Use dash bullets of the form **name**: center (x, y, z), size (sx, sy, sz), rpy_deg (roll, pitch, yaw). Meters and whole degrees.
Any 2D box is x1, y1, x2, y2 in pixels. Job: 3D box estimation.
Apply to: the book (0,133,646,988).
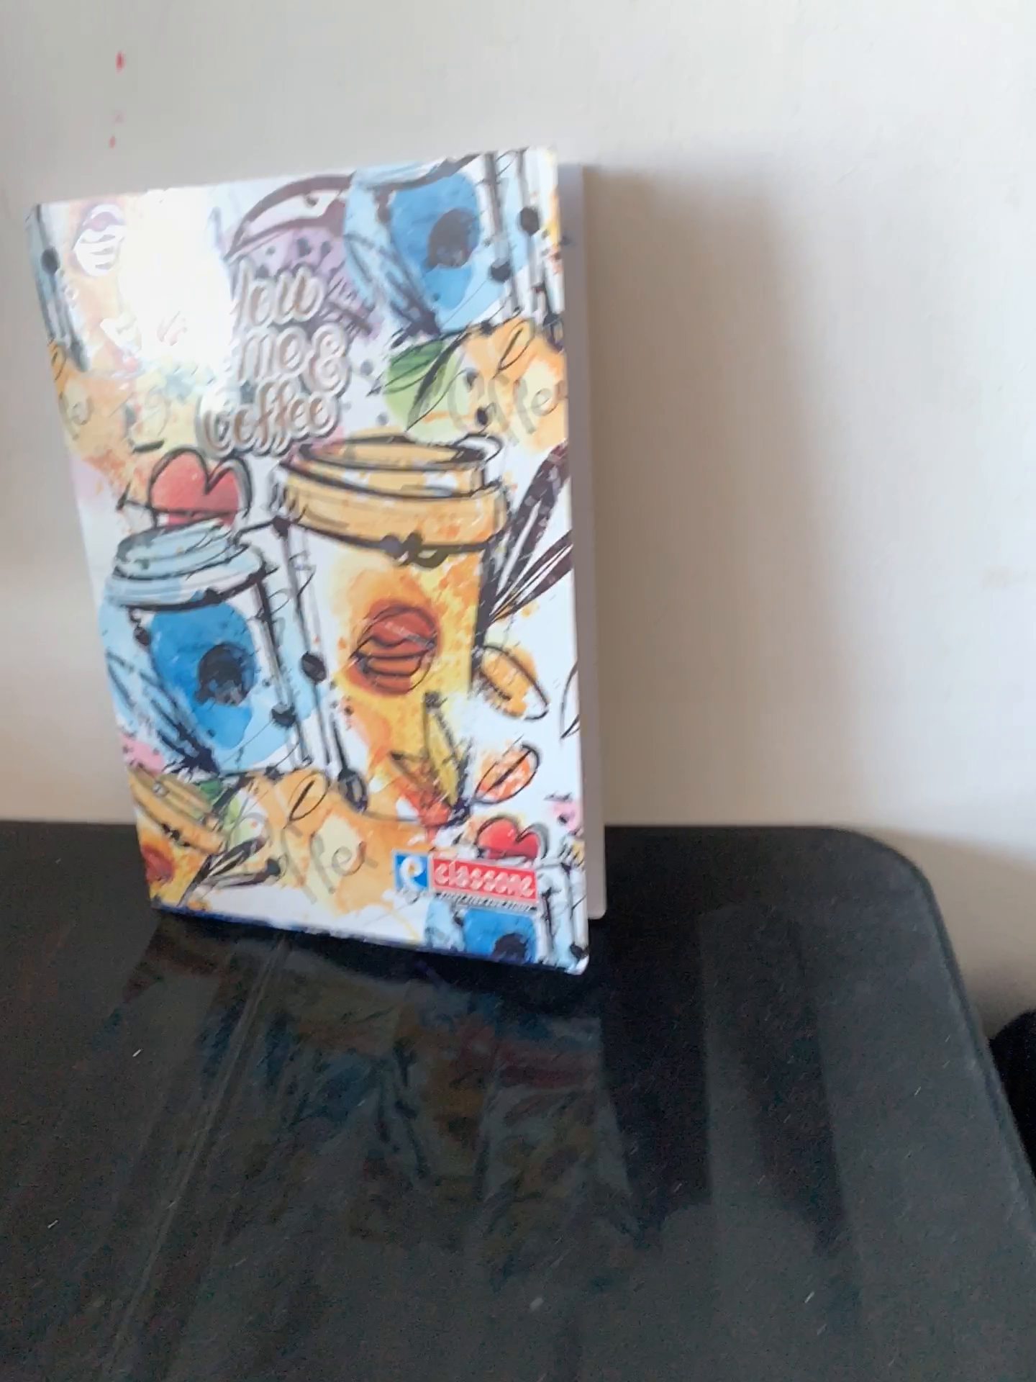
- **book**: center (-0.064, -0.040, 0.420), size (0.220, 0.299, 0.050), rpy_deg (4, 21, 16)
